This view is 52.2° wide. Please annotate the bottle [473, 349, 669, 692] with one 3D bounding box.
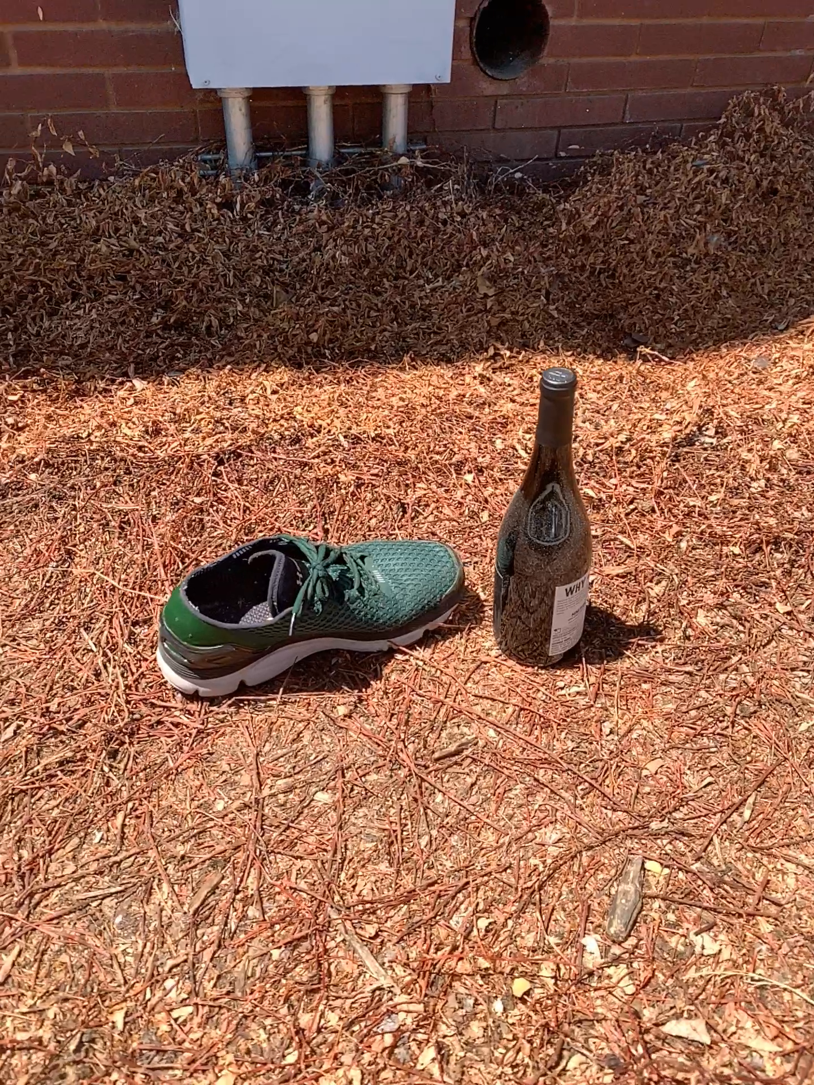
[{"bbox_3d":[0.132,-0.011,0.712,0.090,0.268,0.100,24,45,23],"label":"bottle"}]
